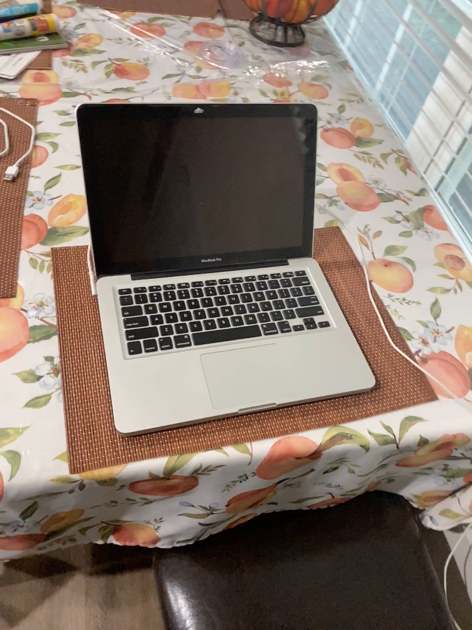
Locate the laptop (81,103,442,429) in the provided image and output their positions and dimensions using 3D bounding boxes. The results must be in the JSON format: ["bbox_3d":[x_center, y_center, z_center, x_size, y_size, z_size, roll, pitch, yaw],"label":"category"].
[{"bbox_3d":[-0.004,-0.085,0.593,0.317,0.162,0.349,-8,56,-15],"label":"laptop"}]
